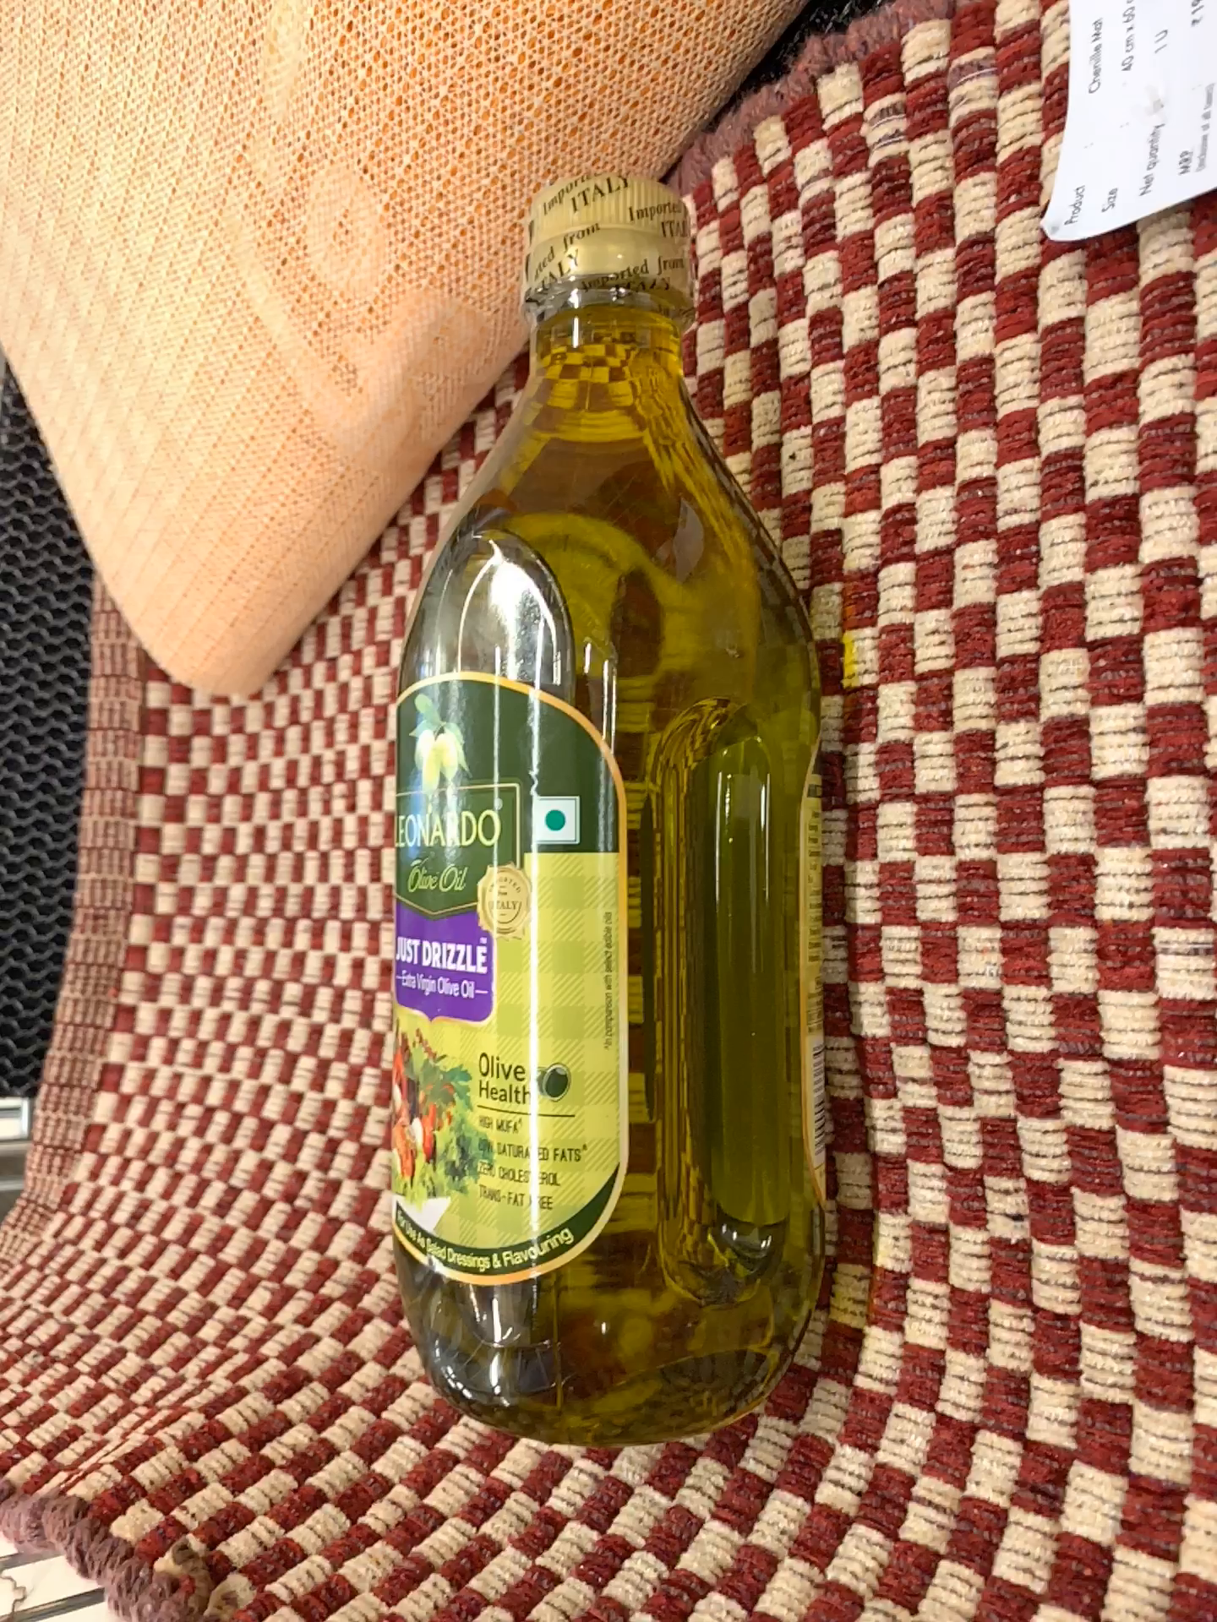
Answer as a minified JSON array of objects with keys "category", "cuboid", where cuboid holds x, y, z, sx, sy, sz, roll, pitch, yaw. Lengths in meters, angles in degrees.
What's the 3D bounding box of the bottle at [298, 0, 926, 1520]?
[{"category":"bottle","cuboid":[0.000,-0.015,0.240,0.081,0.070,0.240,4,91,44]}]
